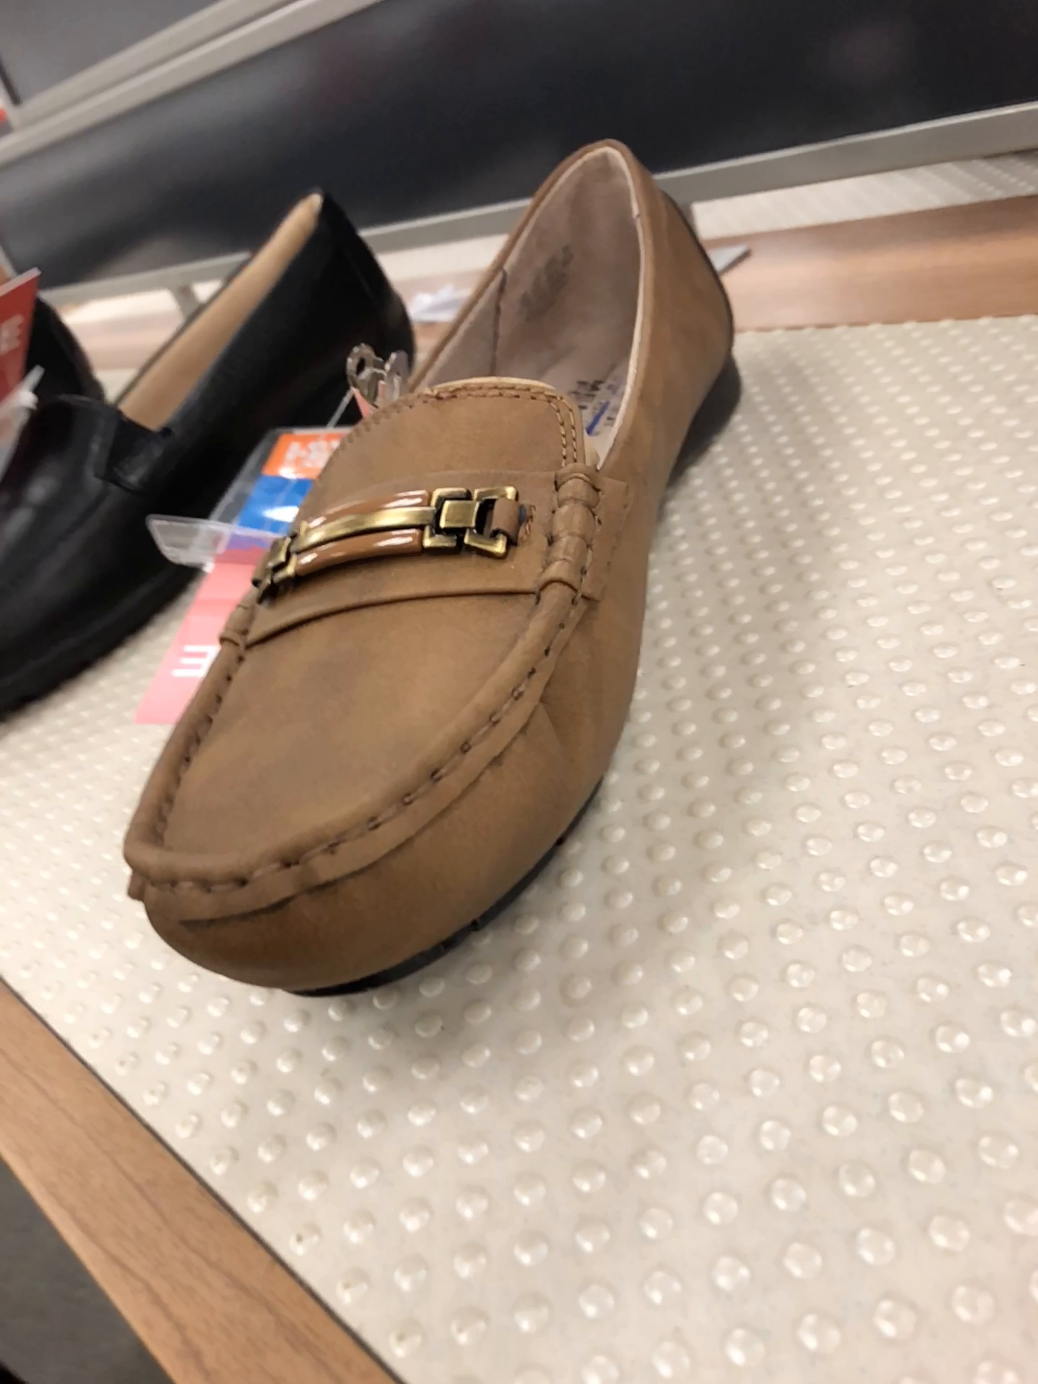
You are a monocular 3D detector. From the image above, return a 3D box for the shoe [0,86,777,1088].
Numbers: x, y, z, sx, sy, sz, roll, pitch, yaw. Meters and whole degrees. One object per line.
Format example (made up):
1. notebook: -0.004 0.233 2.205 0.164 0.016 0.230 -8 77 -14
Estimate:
1. shoe: -0.009 -0.044 0.239 0.087 0.079 0.236 -8 34 24
